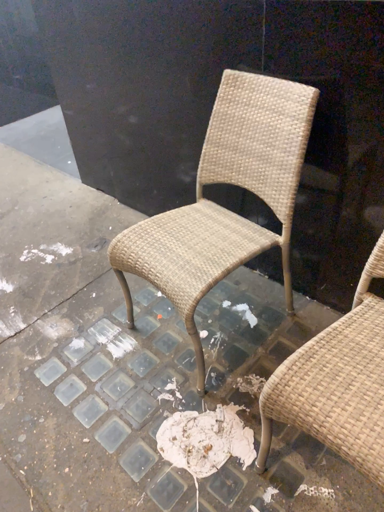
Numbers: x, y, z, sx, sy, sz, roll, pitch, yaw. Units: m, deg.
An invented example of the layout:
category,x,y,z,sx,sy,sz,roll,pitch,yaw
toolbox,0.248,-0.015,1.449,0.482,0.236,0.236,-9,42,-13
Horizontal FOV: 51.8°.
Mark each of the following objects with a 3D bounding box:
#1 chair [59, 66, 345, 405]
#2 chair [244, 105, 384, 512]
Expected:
category,x,y,z,sx,sy,sz,roll,pitch,yaw
chair,0.061,-0.090,1.322,0.612,0.831,0.483,-31,44,-29
chair,0.577,0.234,0.867,0.602,0.901,0.584,-23,40,-33
